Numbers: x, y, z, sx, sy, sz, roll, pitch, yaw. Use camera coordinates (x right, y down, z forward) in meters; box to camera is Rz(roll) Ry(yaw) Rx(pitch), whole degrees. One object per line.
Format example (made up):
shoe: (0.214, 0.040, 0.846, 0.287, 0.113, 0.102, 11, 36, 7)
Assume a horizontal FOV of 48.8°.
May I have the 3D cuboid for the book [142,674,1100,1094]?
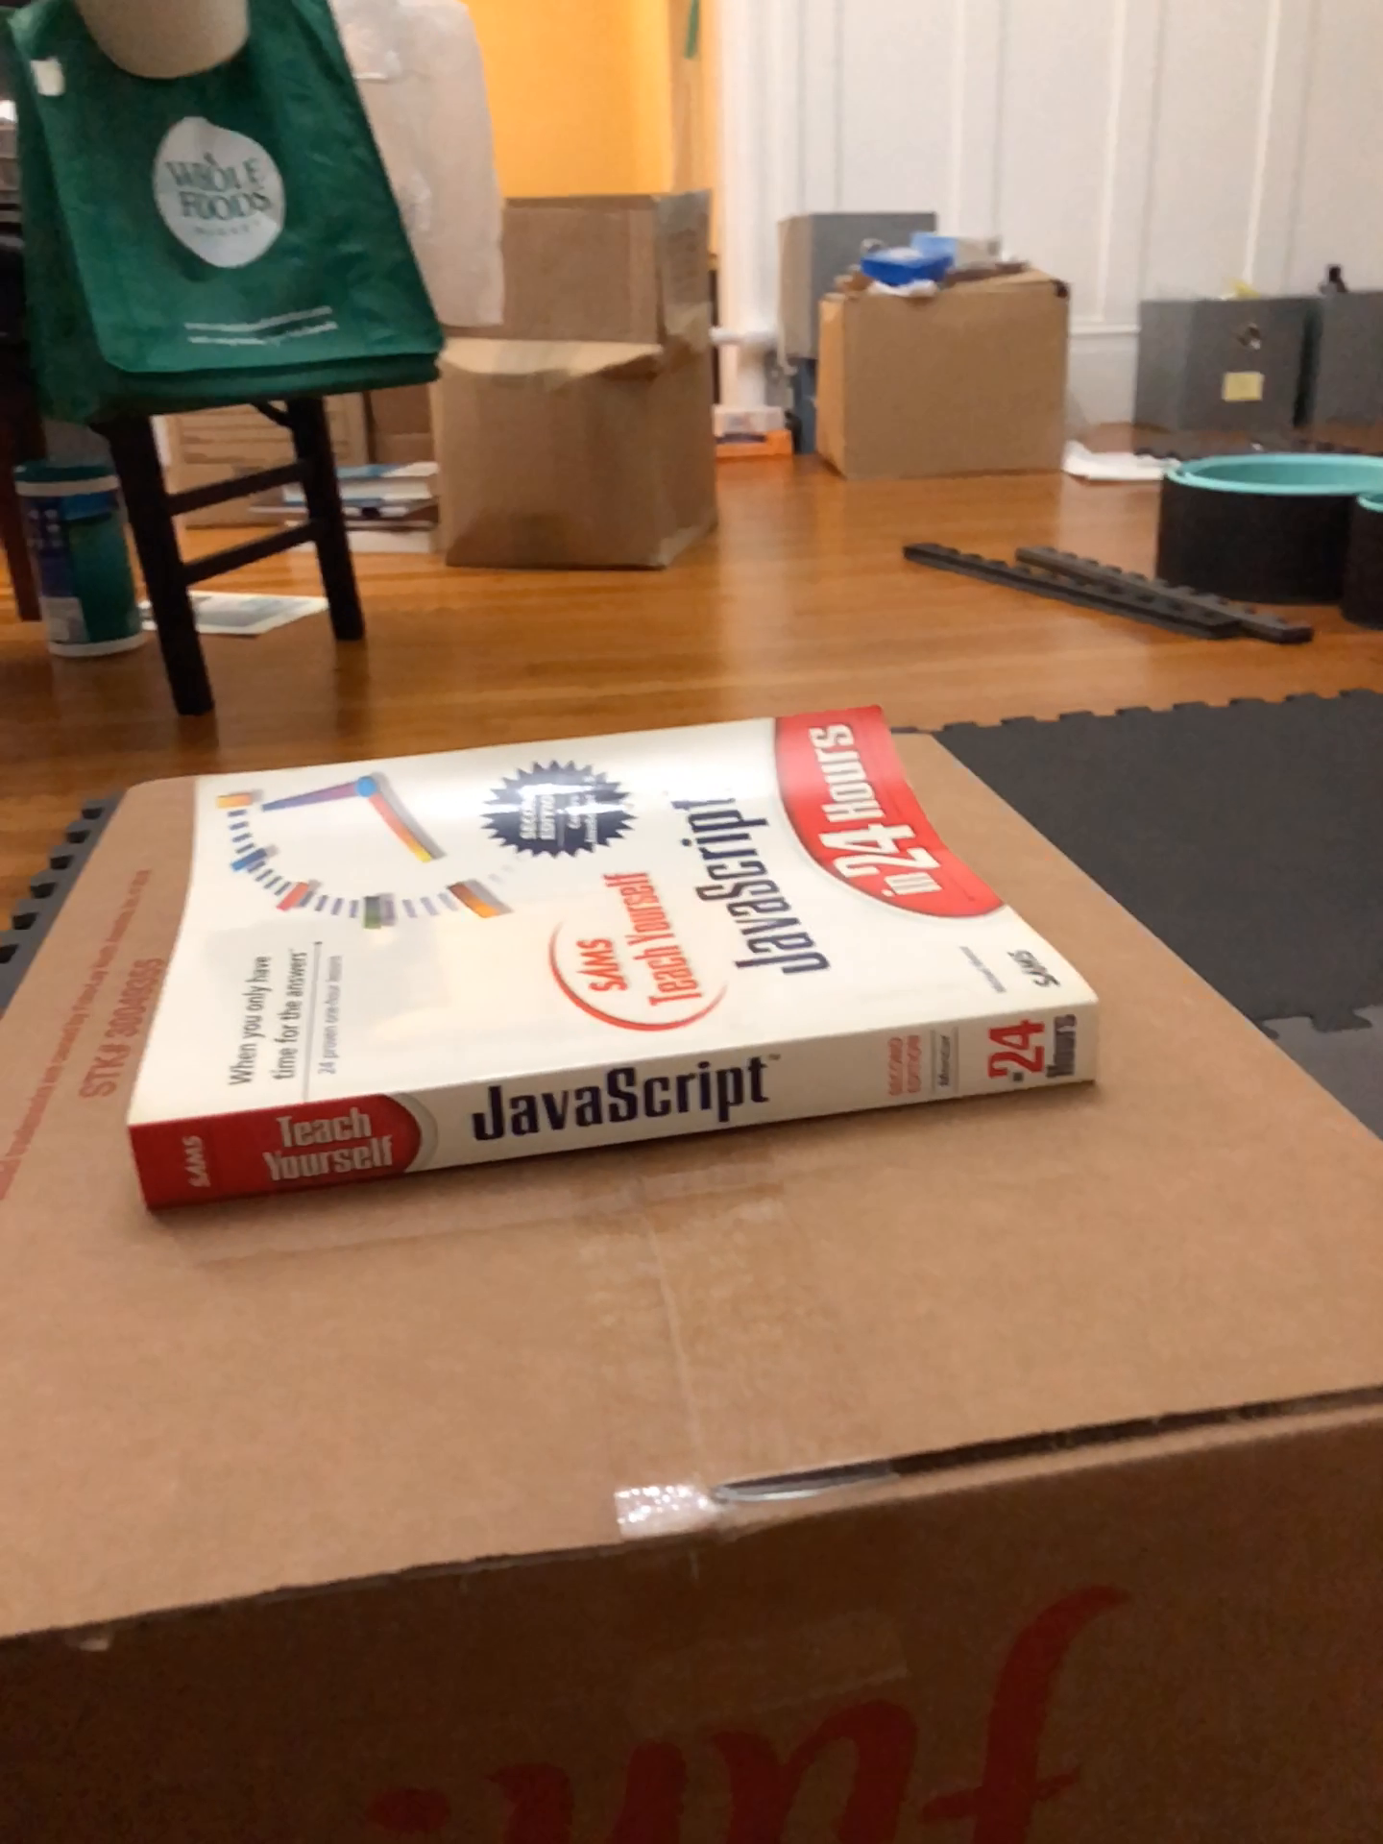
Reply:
book: (-0.030, -0.026, 0.473, 0.240, 0.030, 0.201, -7, 24, -9)
